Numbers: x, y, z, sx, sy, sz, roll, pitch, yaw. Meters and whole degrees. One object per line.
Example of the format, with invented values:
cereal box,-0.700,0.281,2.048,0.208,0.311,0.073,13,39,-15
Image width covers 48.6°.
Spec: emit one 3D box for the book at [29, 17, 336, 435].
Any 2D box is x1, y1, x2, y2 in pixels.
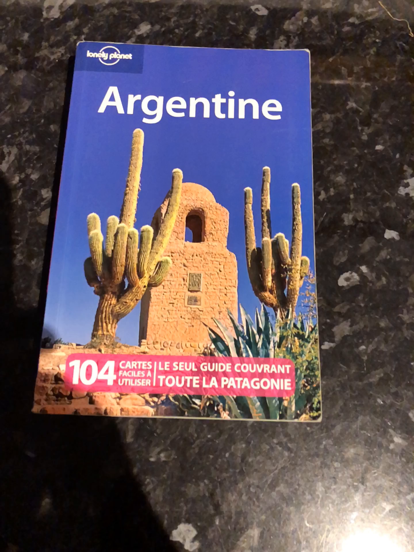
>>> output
book,-0.007,-0.032,0.236,0.130,0.030,0.210,2,75,-1
